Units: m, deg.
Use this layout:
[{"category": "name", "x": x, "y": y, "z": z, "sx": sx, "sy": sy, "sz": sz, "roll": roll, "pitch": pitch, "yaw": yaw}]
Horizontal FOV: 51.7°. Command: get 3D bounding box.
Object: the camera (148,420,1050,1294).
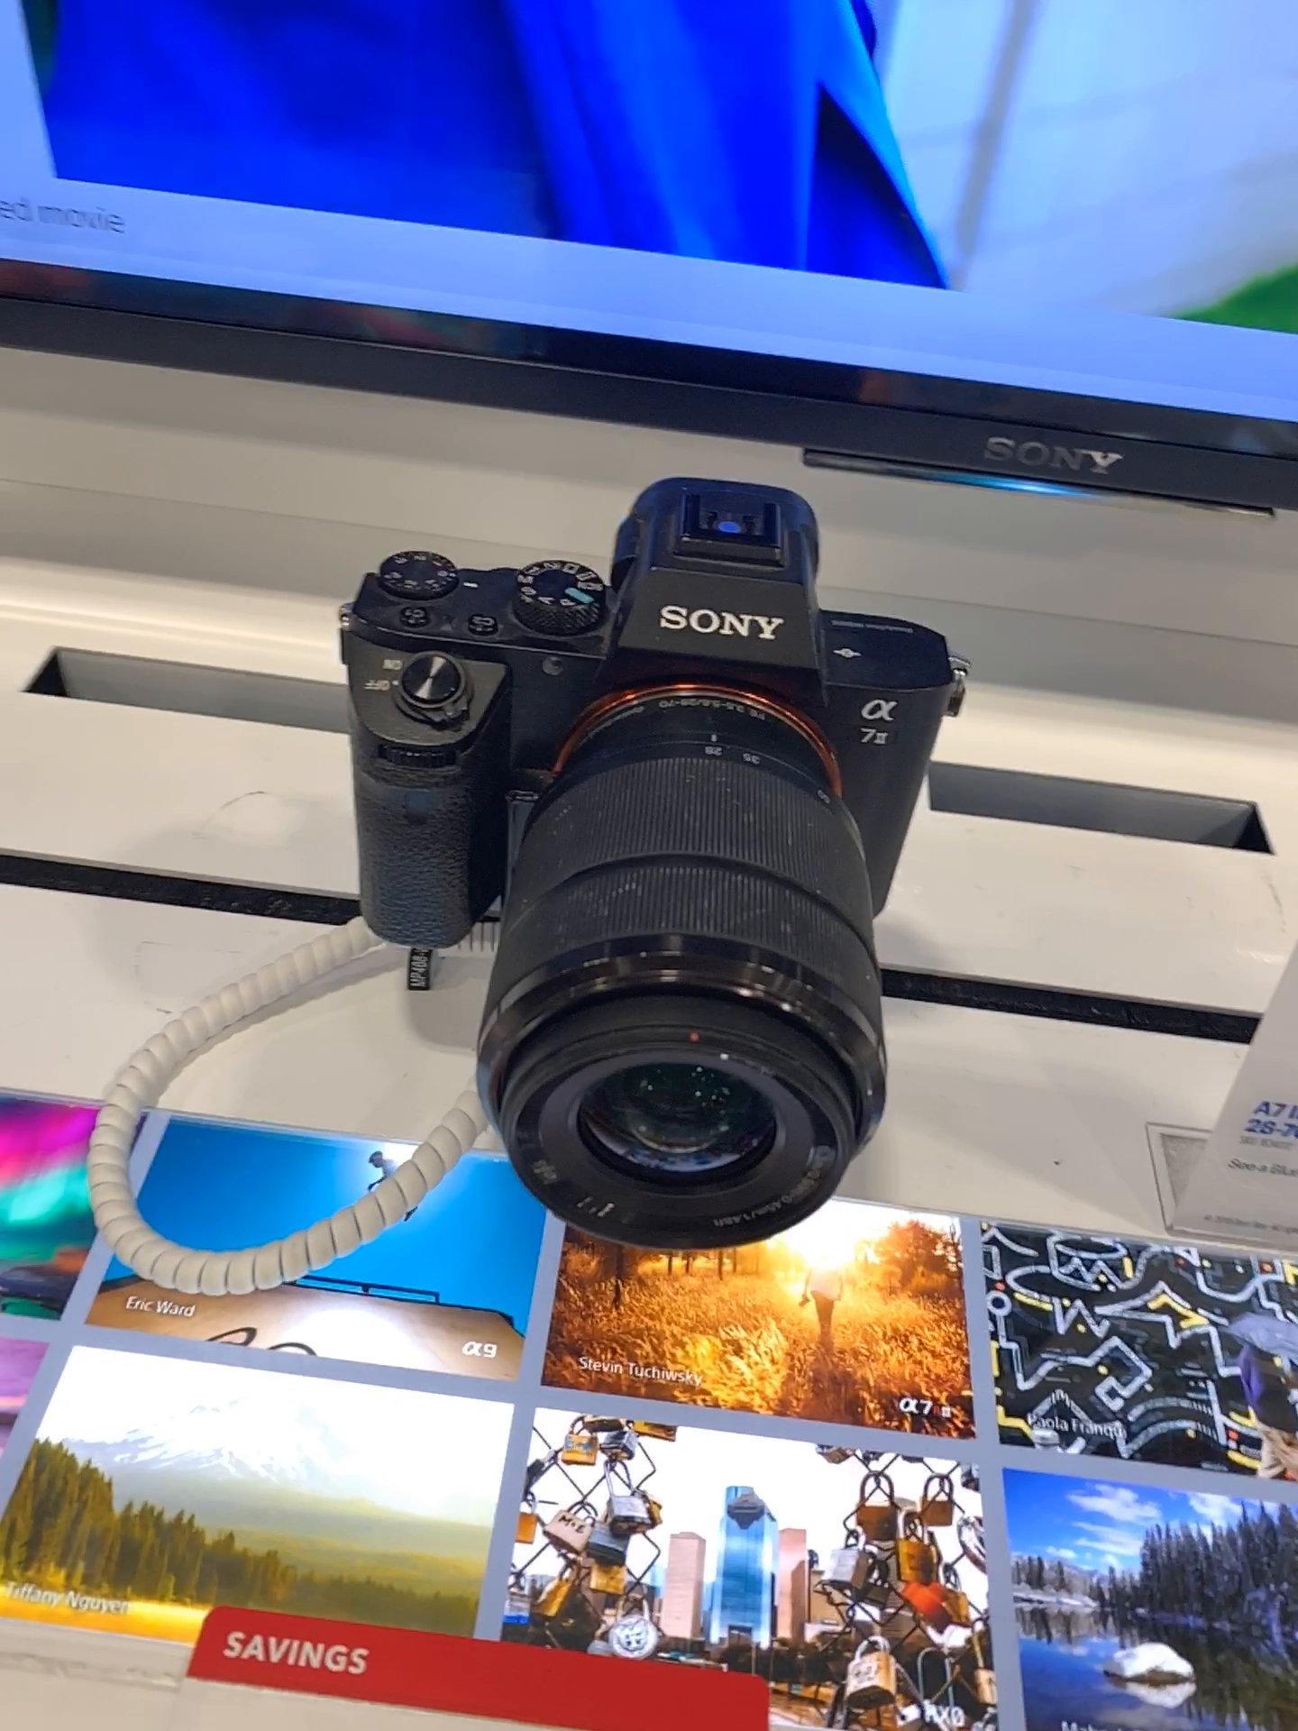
[{"category": "camera", "x": -0.004, "y": -0.010, "z": 0.272, "sx": 0.128, "sy": 0.084, "sz": 0.151, "roll": 6, "pitch": 44, "yaw": 1}]
